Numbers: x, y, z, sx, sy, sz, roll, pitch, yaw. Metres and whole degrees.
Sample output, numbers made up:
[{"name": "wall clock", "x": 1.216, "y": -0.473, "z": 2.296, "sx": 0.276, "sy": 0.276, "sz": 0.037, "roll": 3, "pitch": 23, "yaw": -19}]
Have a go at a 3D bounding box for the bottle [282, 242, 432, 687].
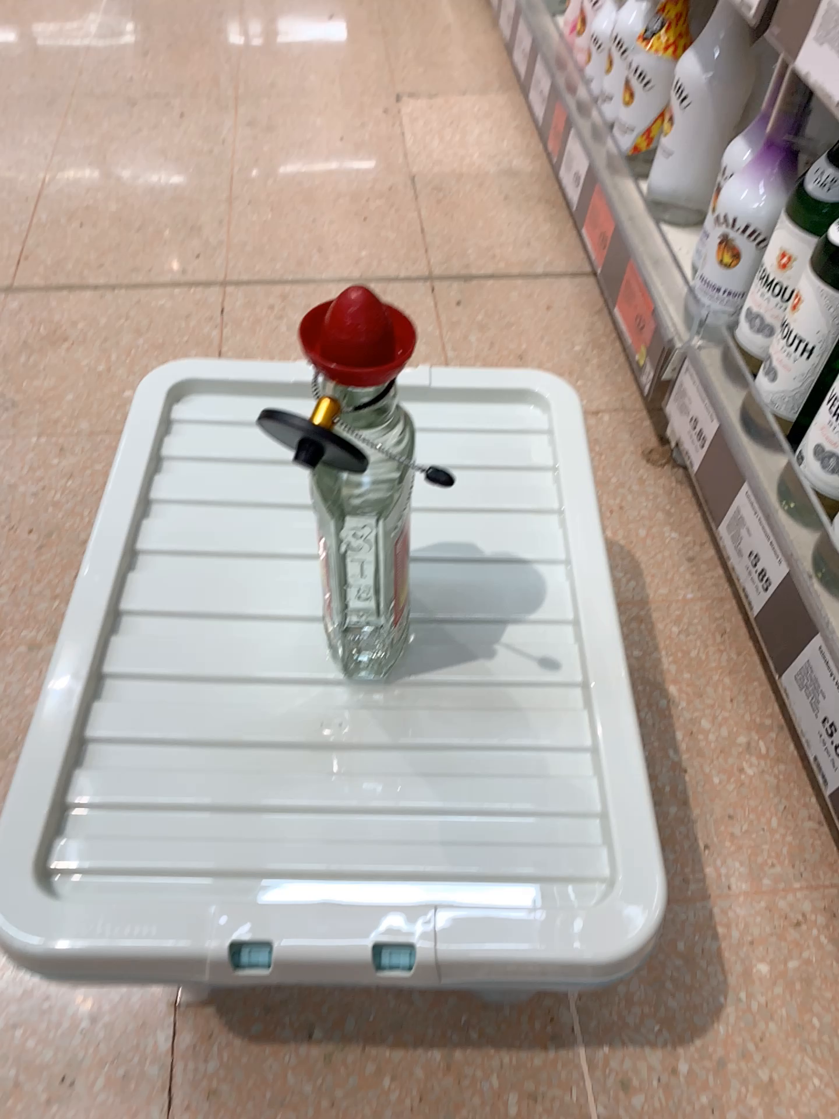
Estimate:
[{"name": "bottle", "x": -0.030, "y": -0.037, "z": 0.478, "sx": 0.058, "sy": 0.240, "sz": 0.104, "roll": 3, "pitch": 51, "yaw": 0}]
